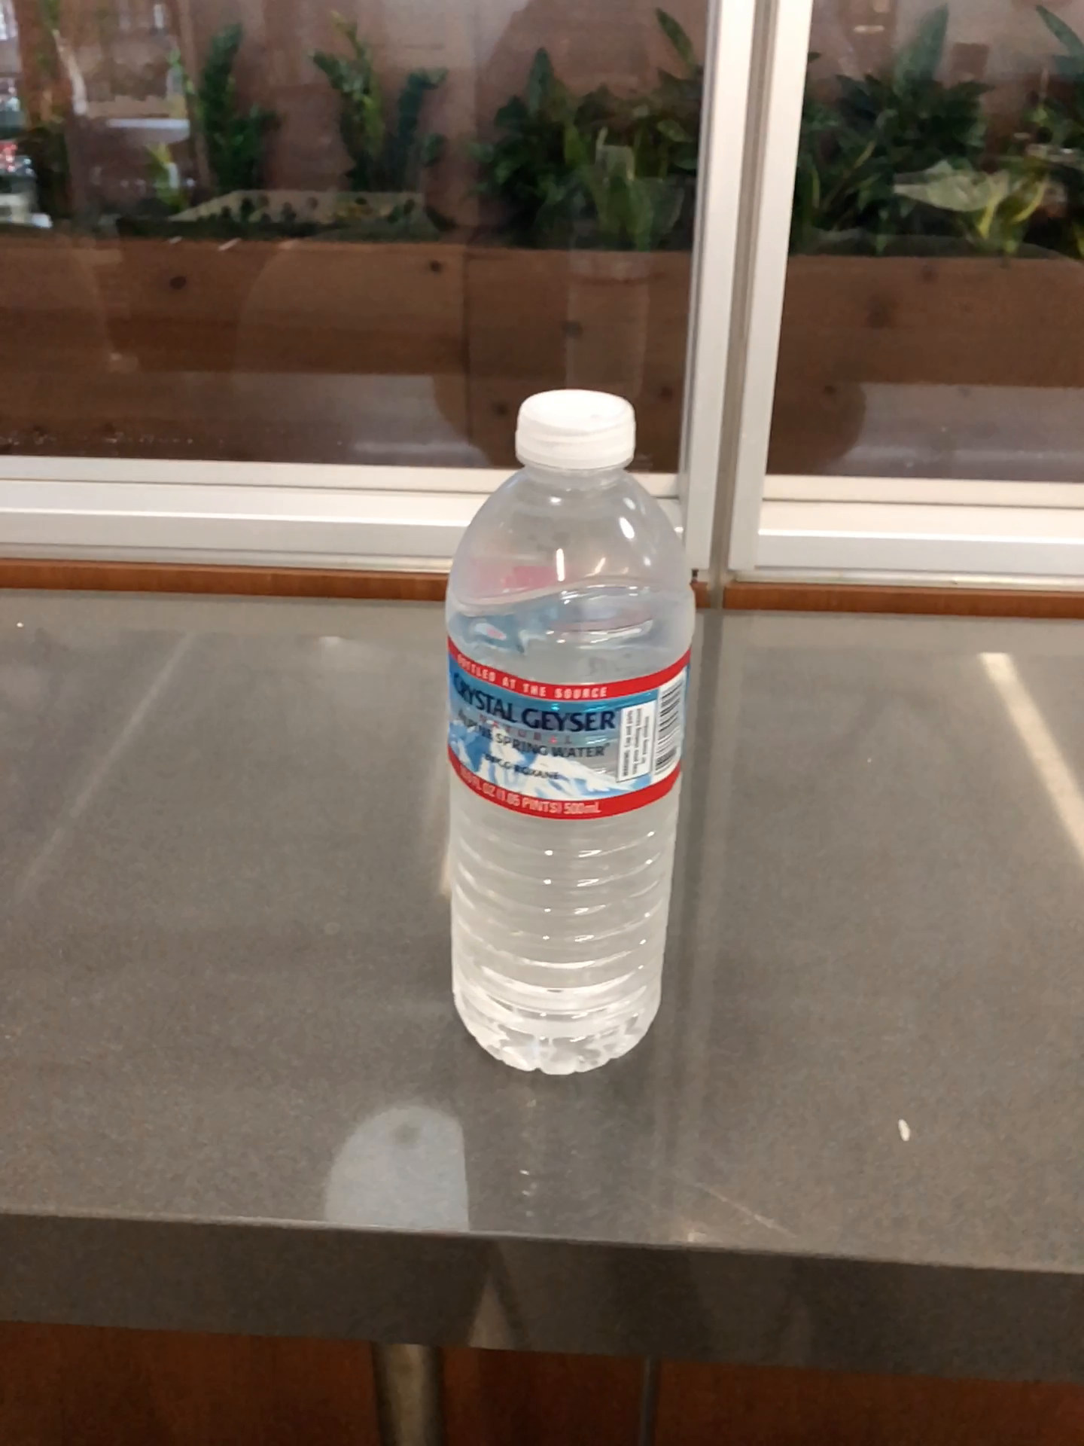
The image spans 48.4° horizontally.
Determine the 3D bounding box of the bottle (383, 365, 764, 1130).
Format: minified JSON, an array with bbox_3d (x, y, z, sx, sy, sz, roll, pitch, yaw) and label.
[{"bbox_3d":[0.010,0.009,0.332,0.070,0.189,0.070,0,29,0],"label":"bottle"}]
